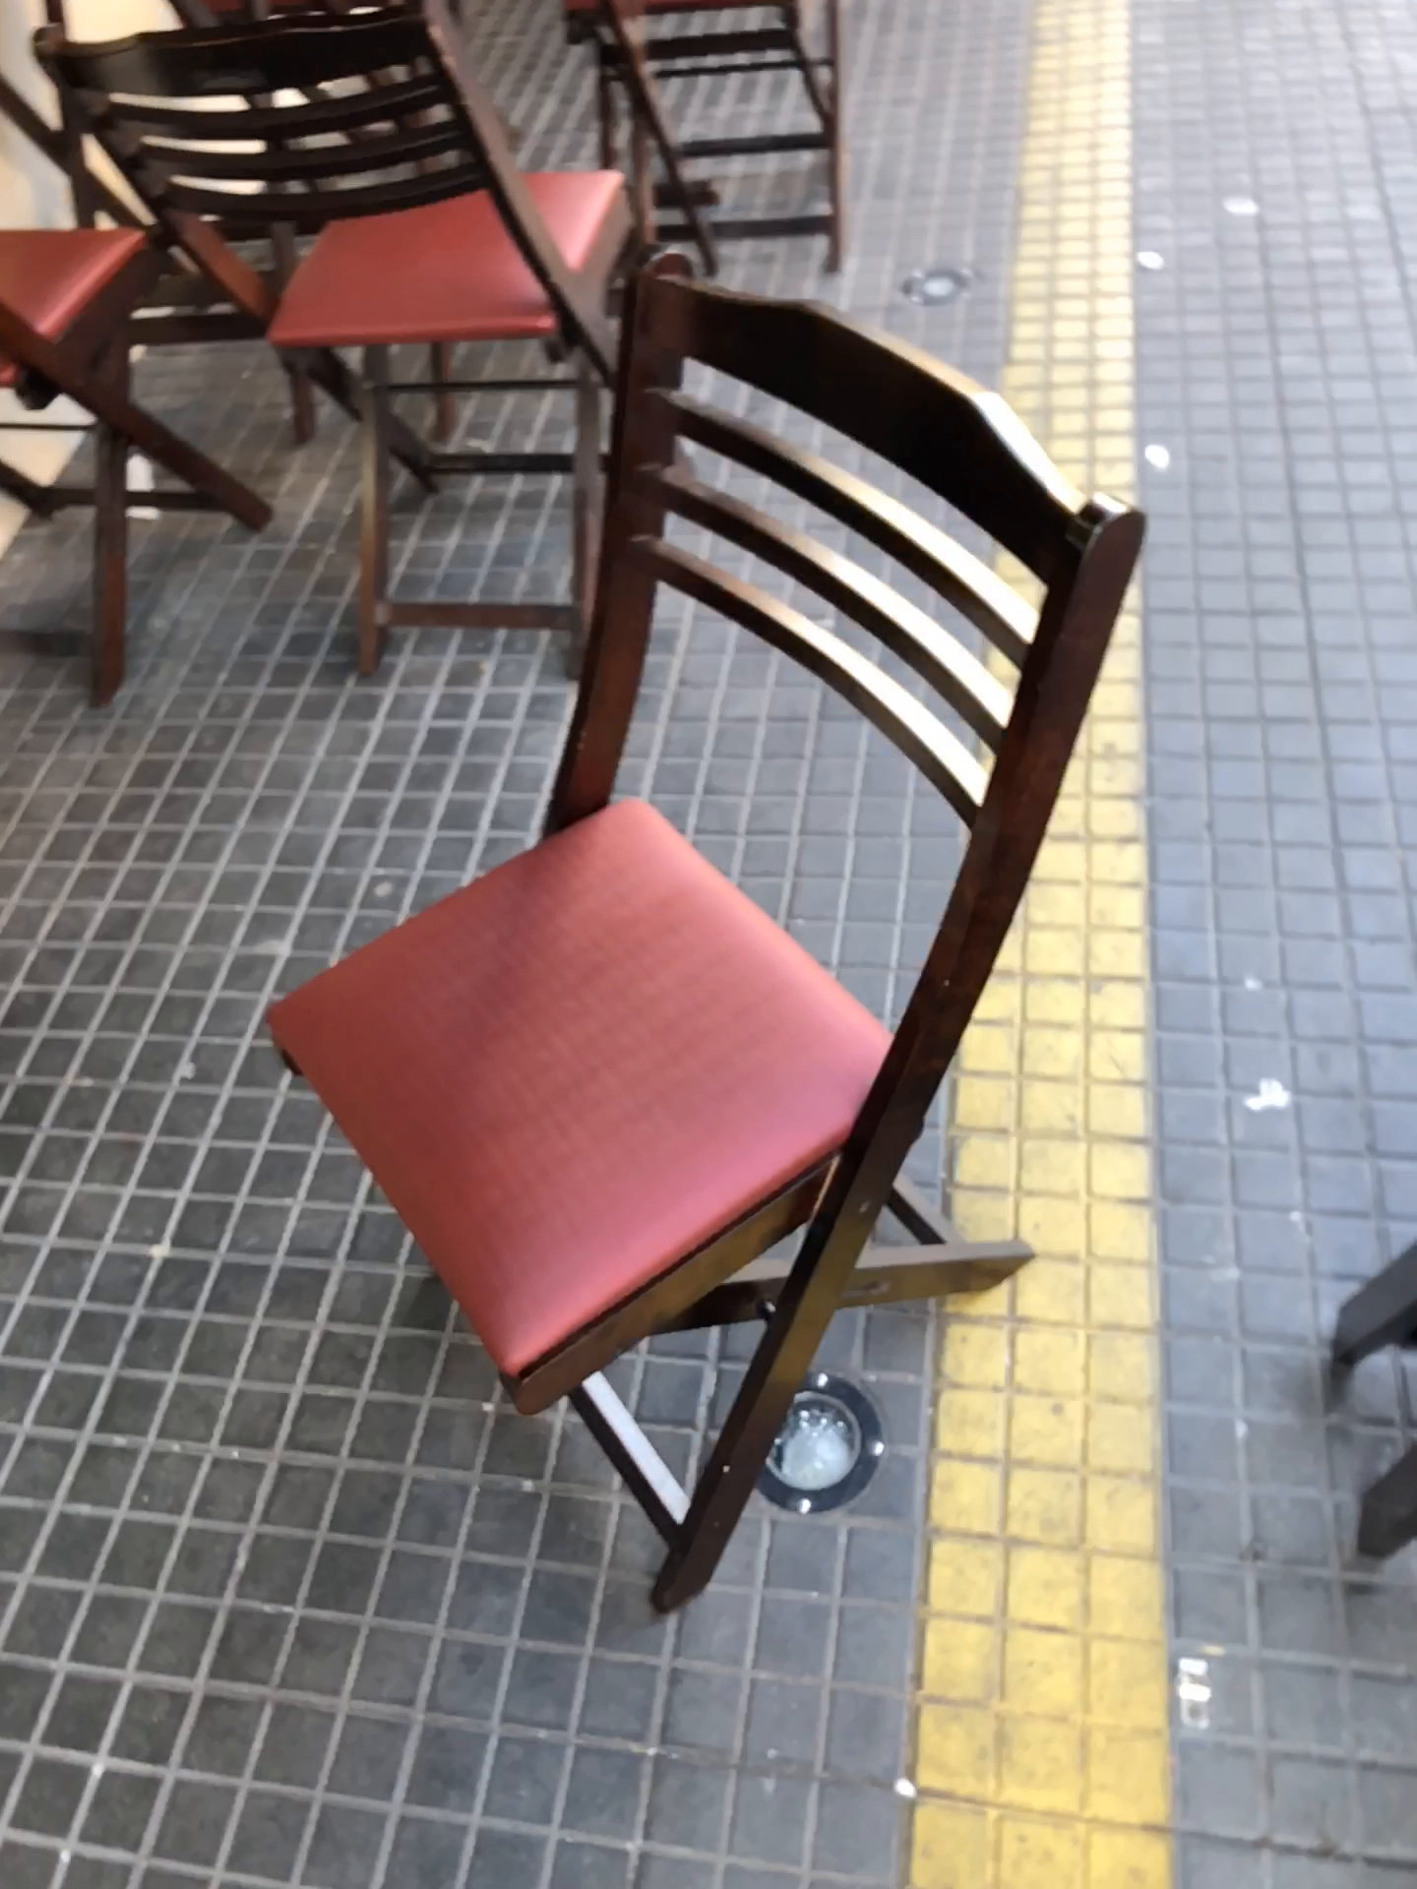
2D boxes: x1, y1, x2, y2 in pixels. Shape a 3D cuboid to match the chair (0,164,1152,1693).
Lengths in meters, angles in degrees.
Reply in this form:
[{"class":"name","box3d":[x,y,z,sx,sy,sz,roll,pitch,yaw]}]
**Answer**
[{"class":"chair","box3d":[-0.068,0.040,1.105,0.481,0.844,0.513,-33,52,-15]}]
